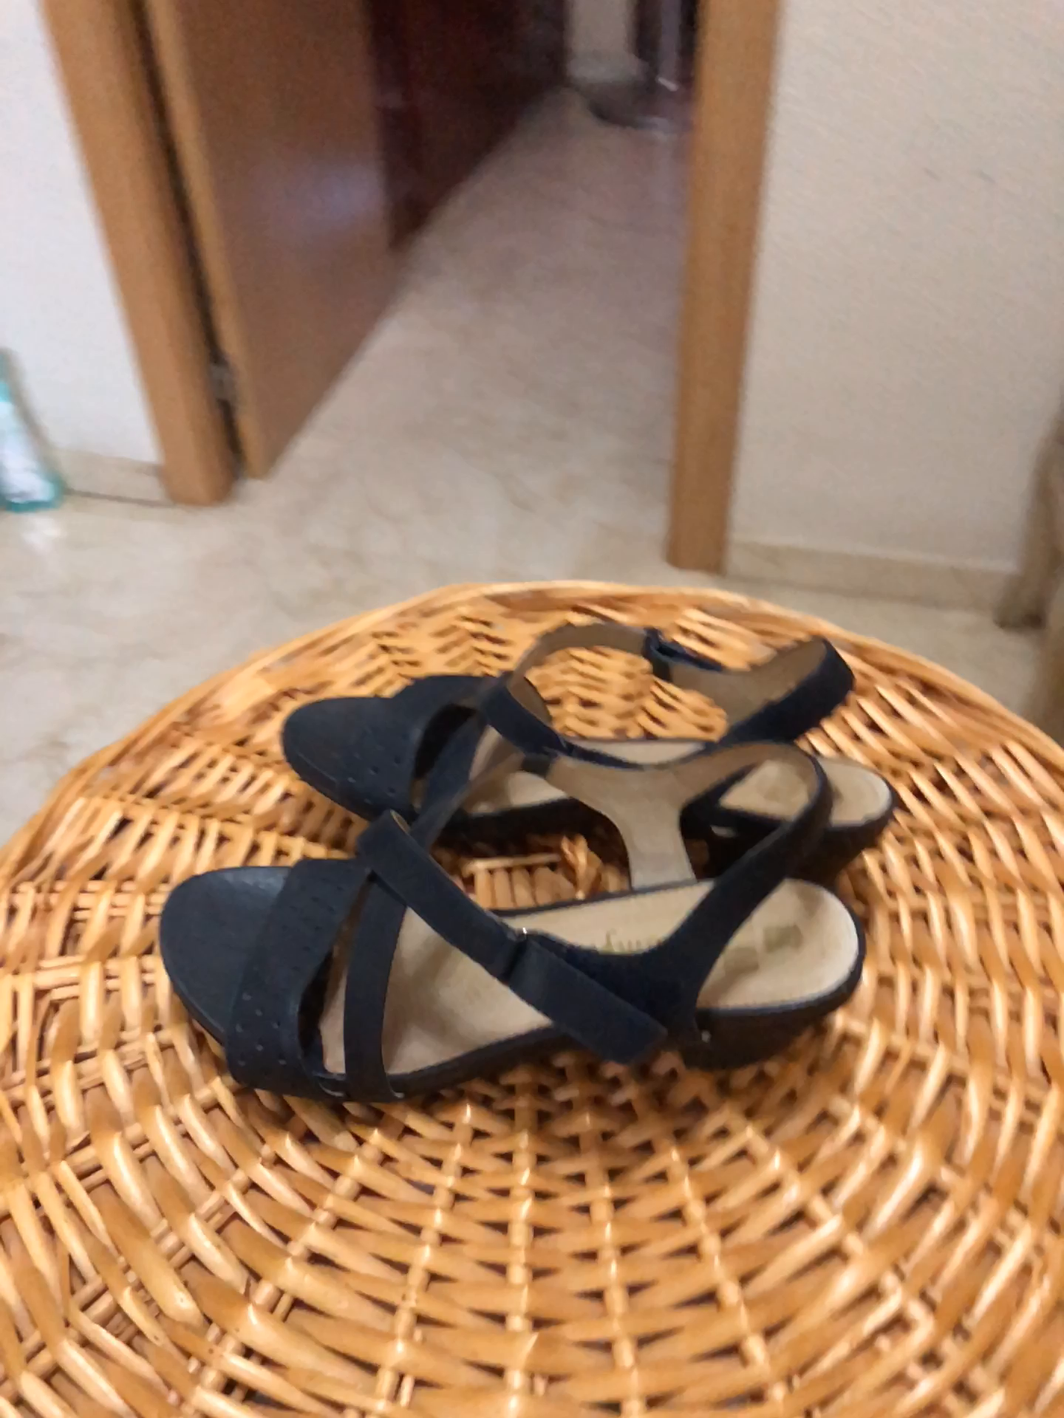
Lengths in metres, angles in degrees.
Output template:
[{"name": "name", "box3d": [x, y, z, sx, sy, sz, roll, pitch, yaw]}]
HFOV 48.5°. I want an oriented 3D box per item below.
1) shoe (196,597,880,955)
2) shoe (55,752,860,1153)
[{"name": "shoe", "box3d": [0.006, 0.024, 0.482, 0.247, 0.092, 0.100, -1, 29, 24]}, {"name": "shoe", "box3d": [-0.017, 0.079, 0.407, 0.248, 0.088, 0.090, -1, 41, 14]}]
